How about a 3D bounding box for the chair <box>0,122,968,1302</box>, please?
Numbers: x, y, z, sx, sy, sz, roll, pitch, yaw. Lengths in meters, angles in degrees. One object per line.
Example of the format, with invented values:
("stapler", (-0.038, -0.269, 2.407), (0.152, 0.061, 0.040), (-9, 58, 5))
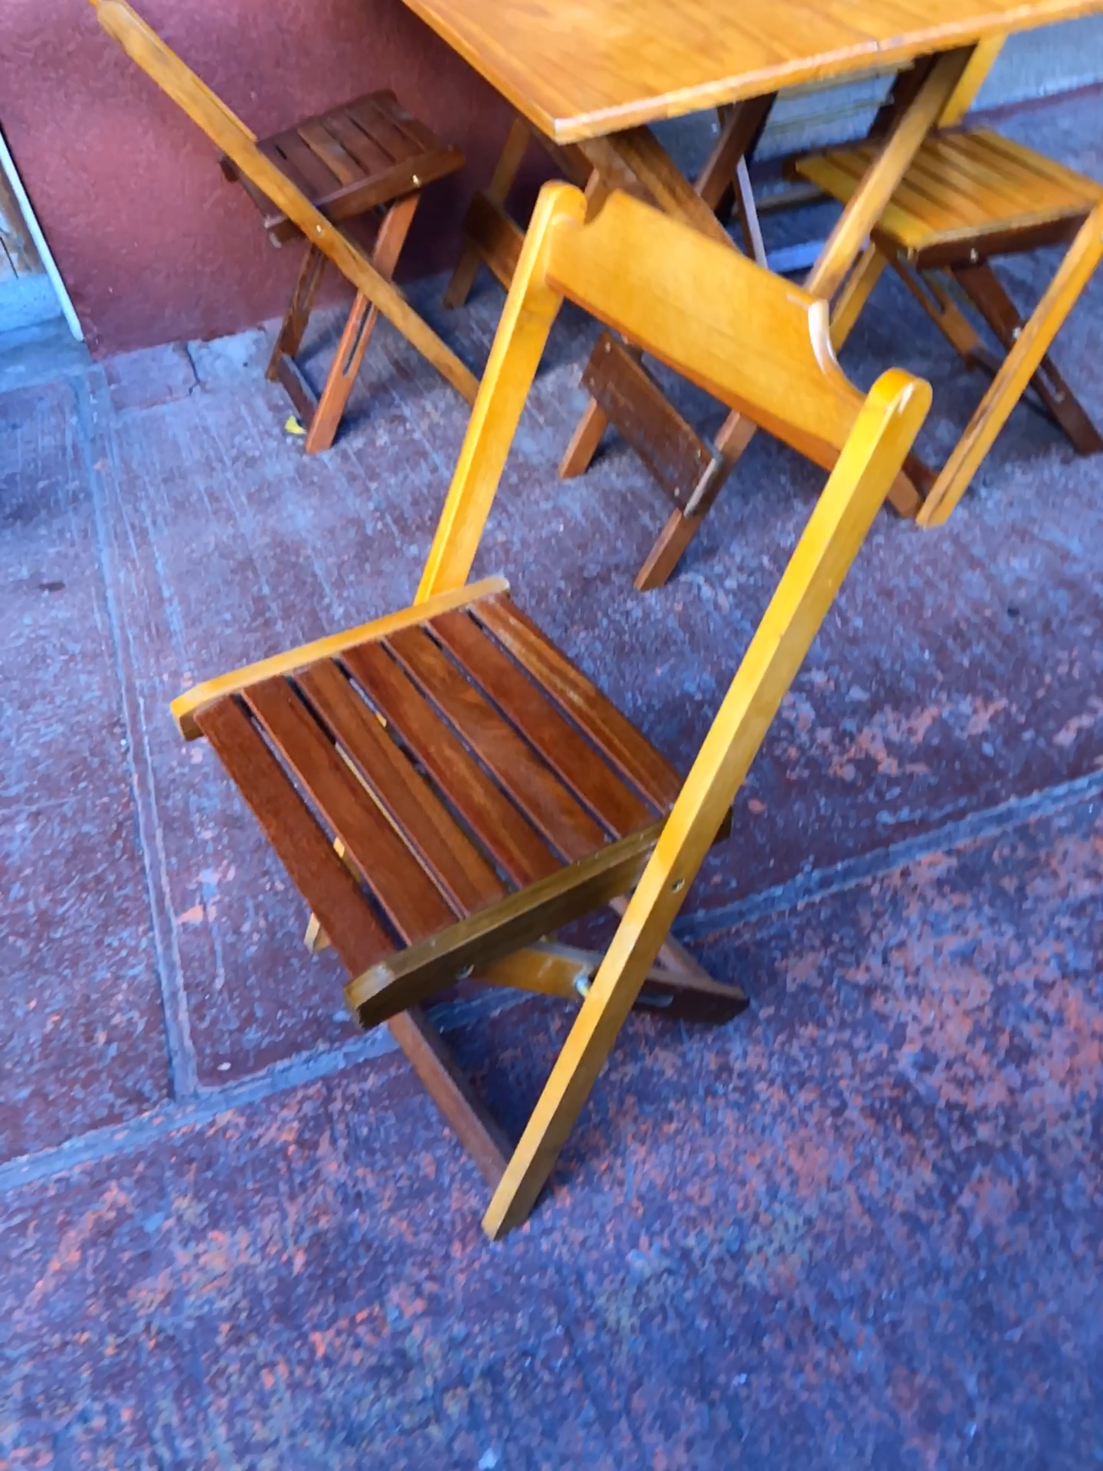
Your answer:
("chair", (-0.060, 0.004, 0.999), (0.471, 0.735, 0.453), (-27, 50, -19))
